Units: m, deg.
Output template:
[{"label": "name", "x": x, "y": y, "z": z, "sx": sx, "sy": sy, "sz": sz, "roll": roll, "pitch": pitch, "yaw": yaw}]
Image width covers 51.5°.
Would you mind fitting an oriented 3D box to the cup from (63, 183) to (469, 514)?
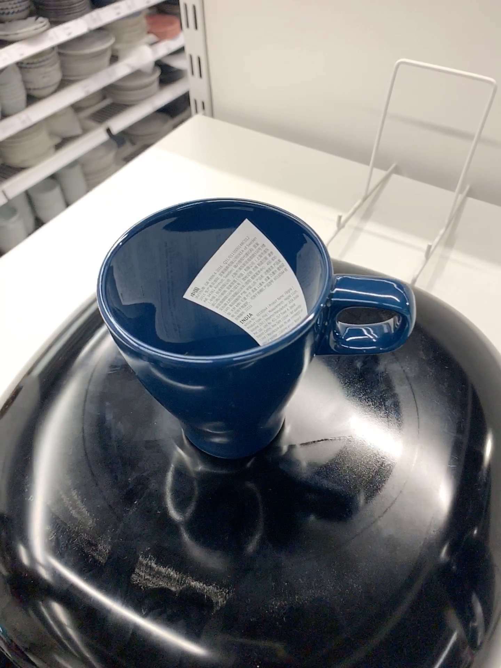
[{"label": "cup", "x": 0.003, "y": 0.008, "z": 0.220, "sx": 0.120, "sy": 0.100, "sz": 0.090, "roll": -3, "pitch": 48, "yaw": -2}]
